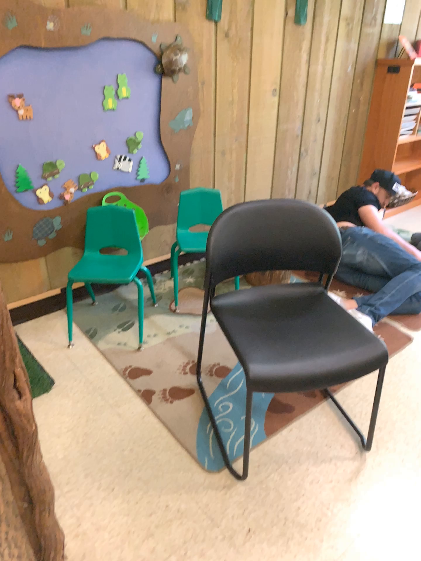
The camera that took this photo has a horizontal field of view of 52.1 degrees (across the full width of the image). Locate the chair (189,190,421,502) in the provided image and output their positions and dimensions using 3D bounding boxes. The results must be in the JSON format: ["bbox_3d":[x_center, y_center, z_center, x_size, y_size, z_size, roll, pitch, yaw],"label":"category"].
[{"bbox_3d":[0.284,0.174,1.474,0.590,0.785,0.573,-7,28,-14],"label":"chair"}]
